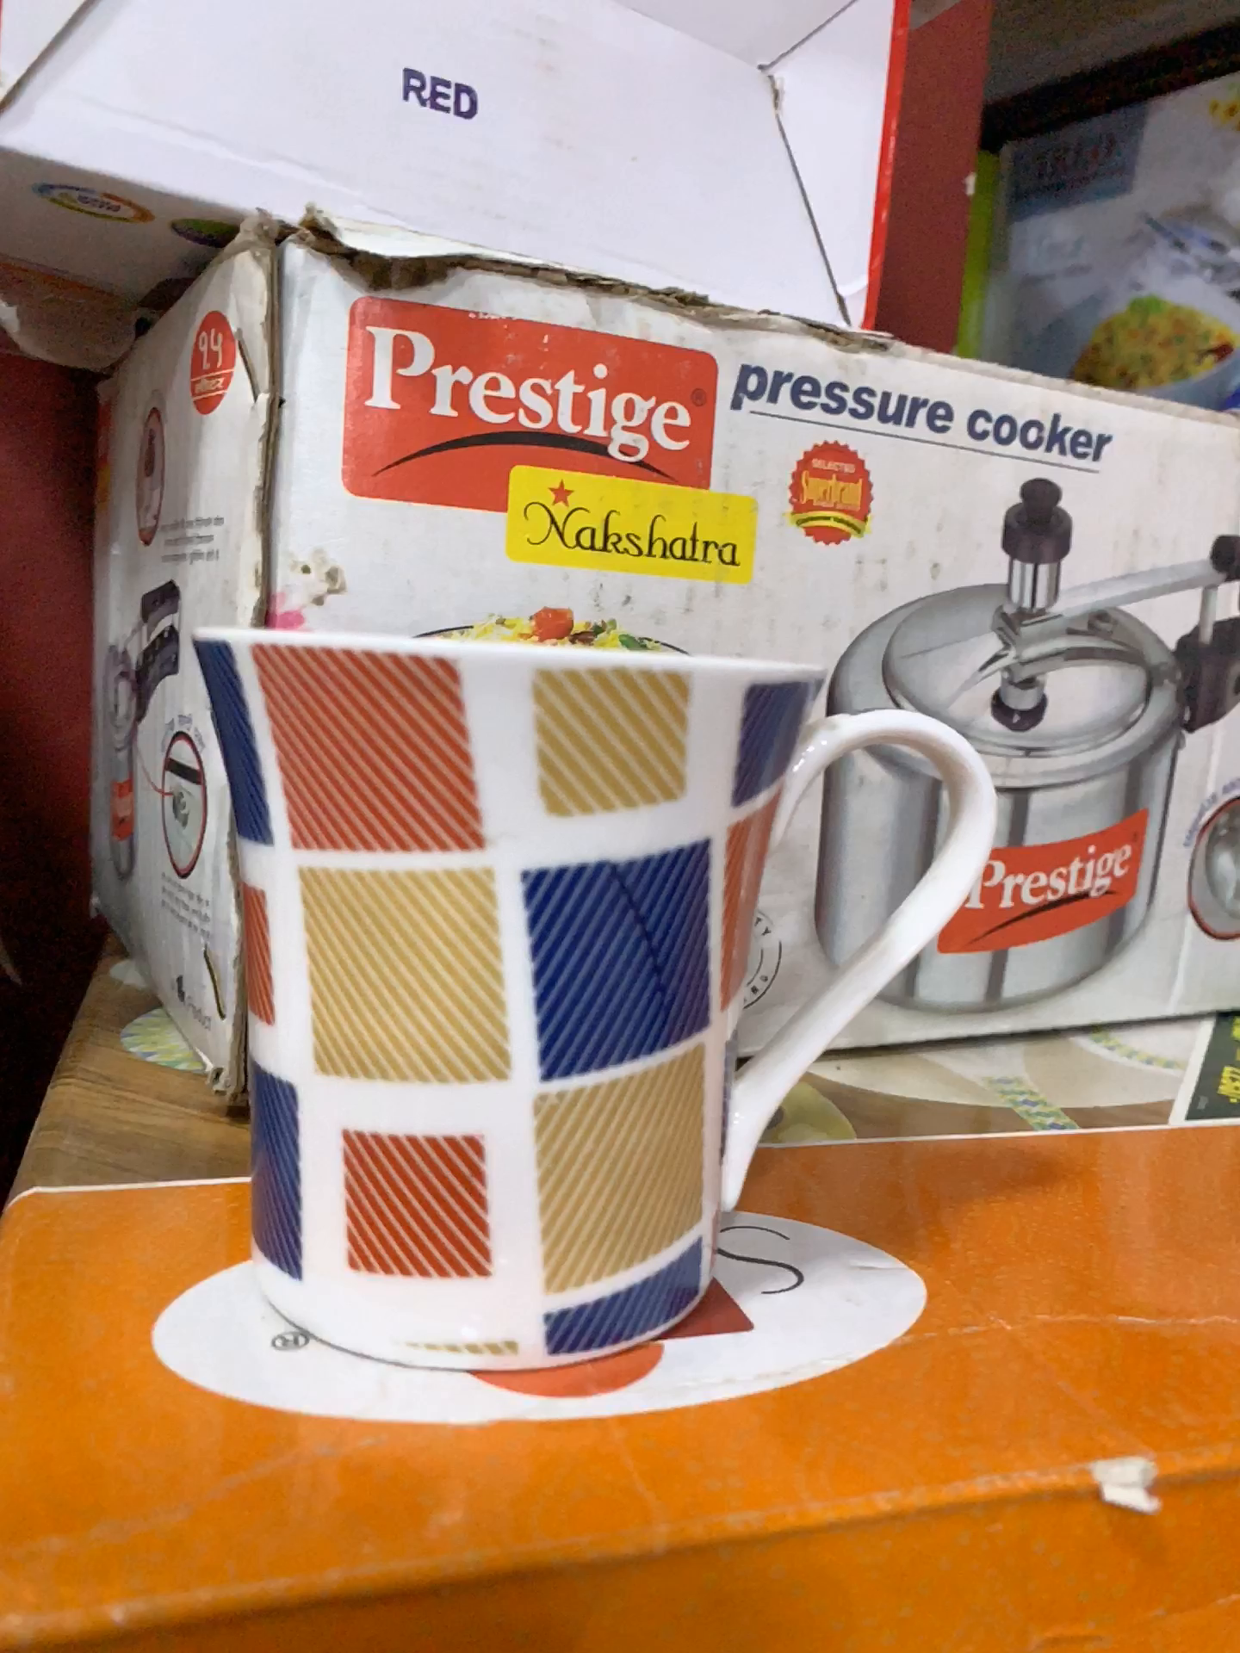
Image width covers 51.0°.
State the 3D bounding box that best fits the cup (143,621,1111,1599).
[{"bbox_3d":[-0.004,0.022,0.170,0.100,0.090,0.070,0,8,-27],"label":"cup"}]
